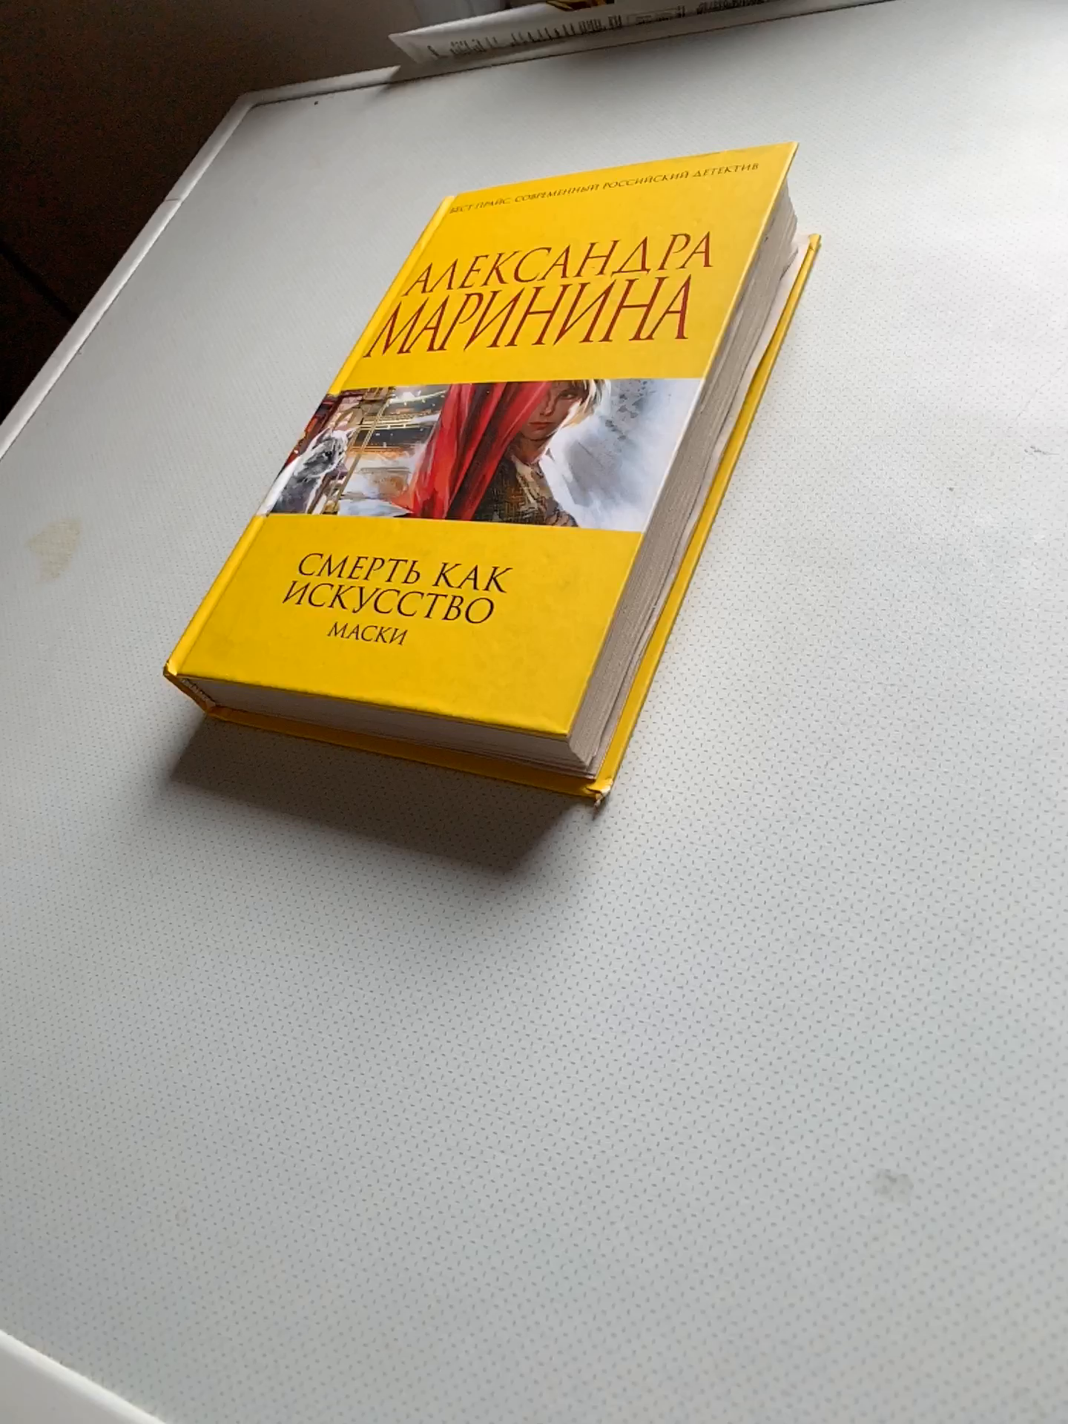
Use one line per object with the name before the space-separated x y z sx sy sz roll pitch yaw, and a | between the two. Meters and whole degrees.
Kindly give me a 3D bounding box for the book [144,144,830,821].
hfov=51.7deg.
book | -0.006 -0.072 0.295 0.120 0.030 0.189 9 62 30
